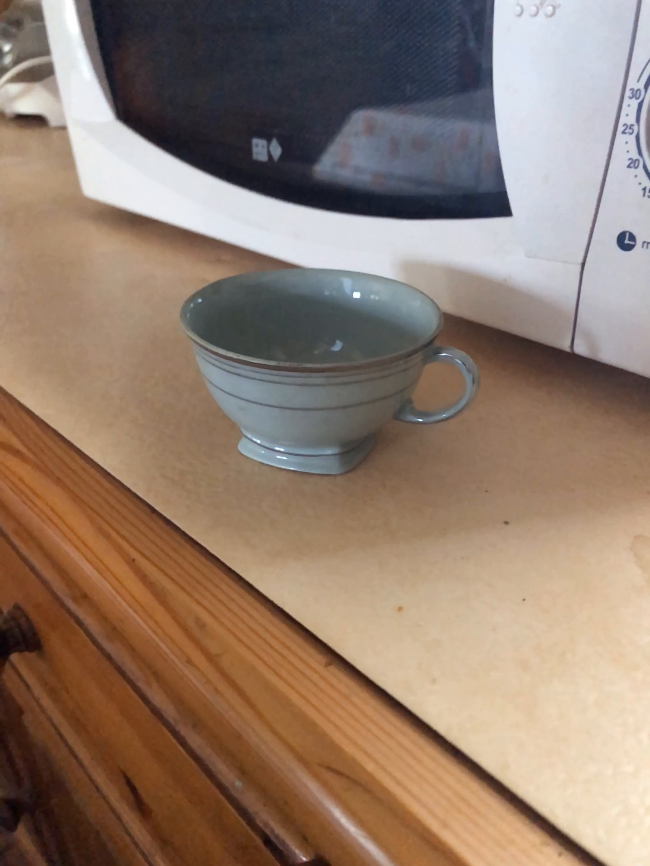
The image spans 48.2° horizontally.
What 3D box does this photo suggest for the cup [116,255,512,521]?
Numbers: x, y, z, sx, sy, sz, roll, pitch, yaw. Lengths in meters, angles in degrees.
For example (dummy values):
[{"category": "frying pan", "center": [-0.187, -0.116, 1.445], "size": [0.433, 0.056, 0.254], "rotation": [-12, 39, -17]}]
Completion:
[{"category": "cup", "center": [0.002, -0.021, 0.230], "size": [0.100, 0.040, 0.081], "rotation": [9, 32, 15]}]
